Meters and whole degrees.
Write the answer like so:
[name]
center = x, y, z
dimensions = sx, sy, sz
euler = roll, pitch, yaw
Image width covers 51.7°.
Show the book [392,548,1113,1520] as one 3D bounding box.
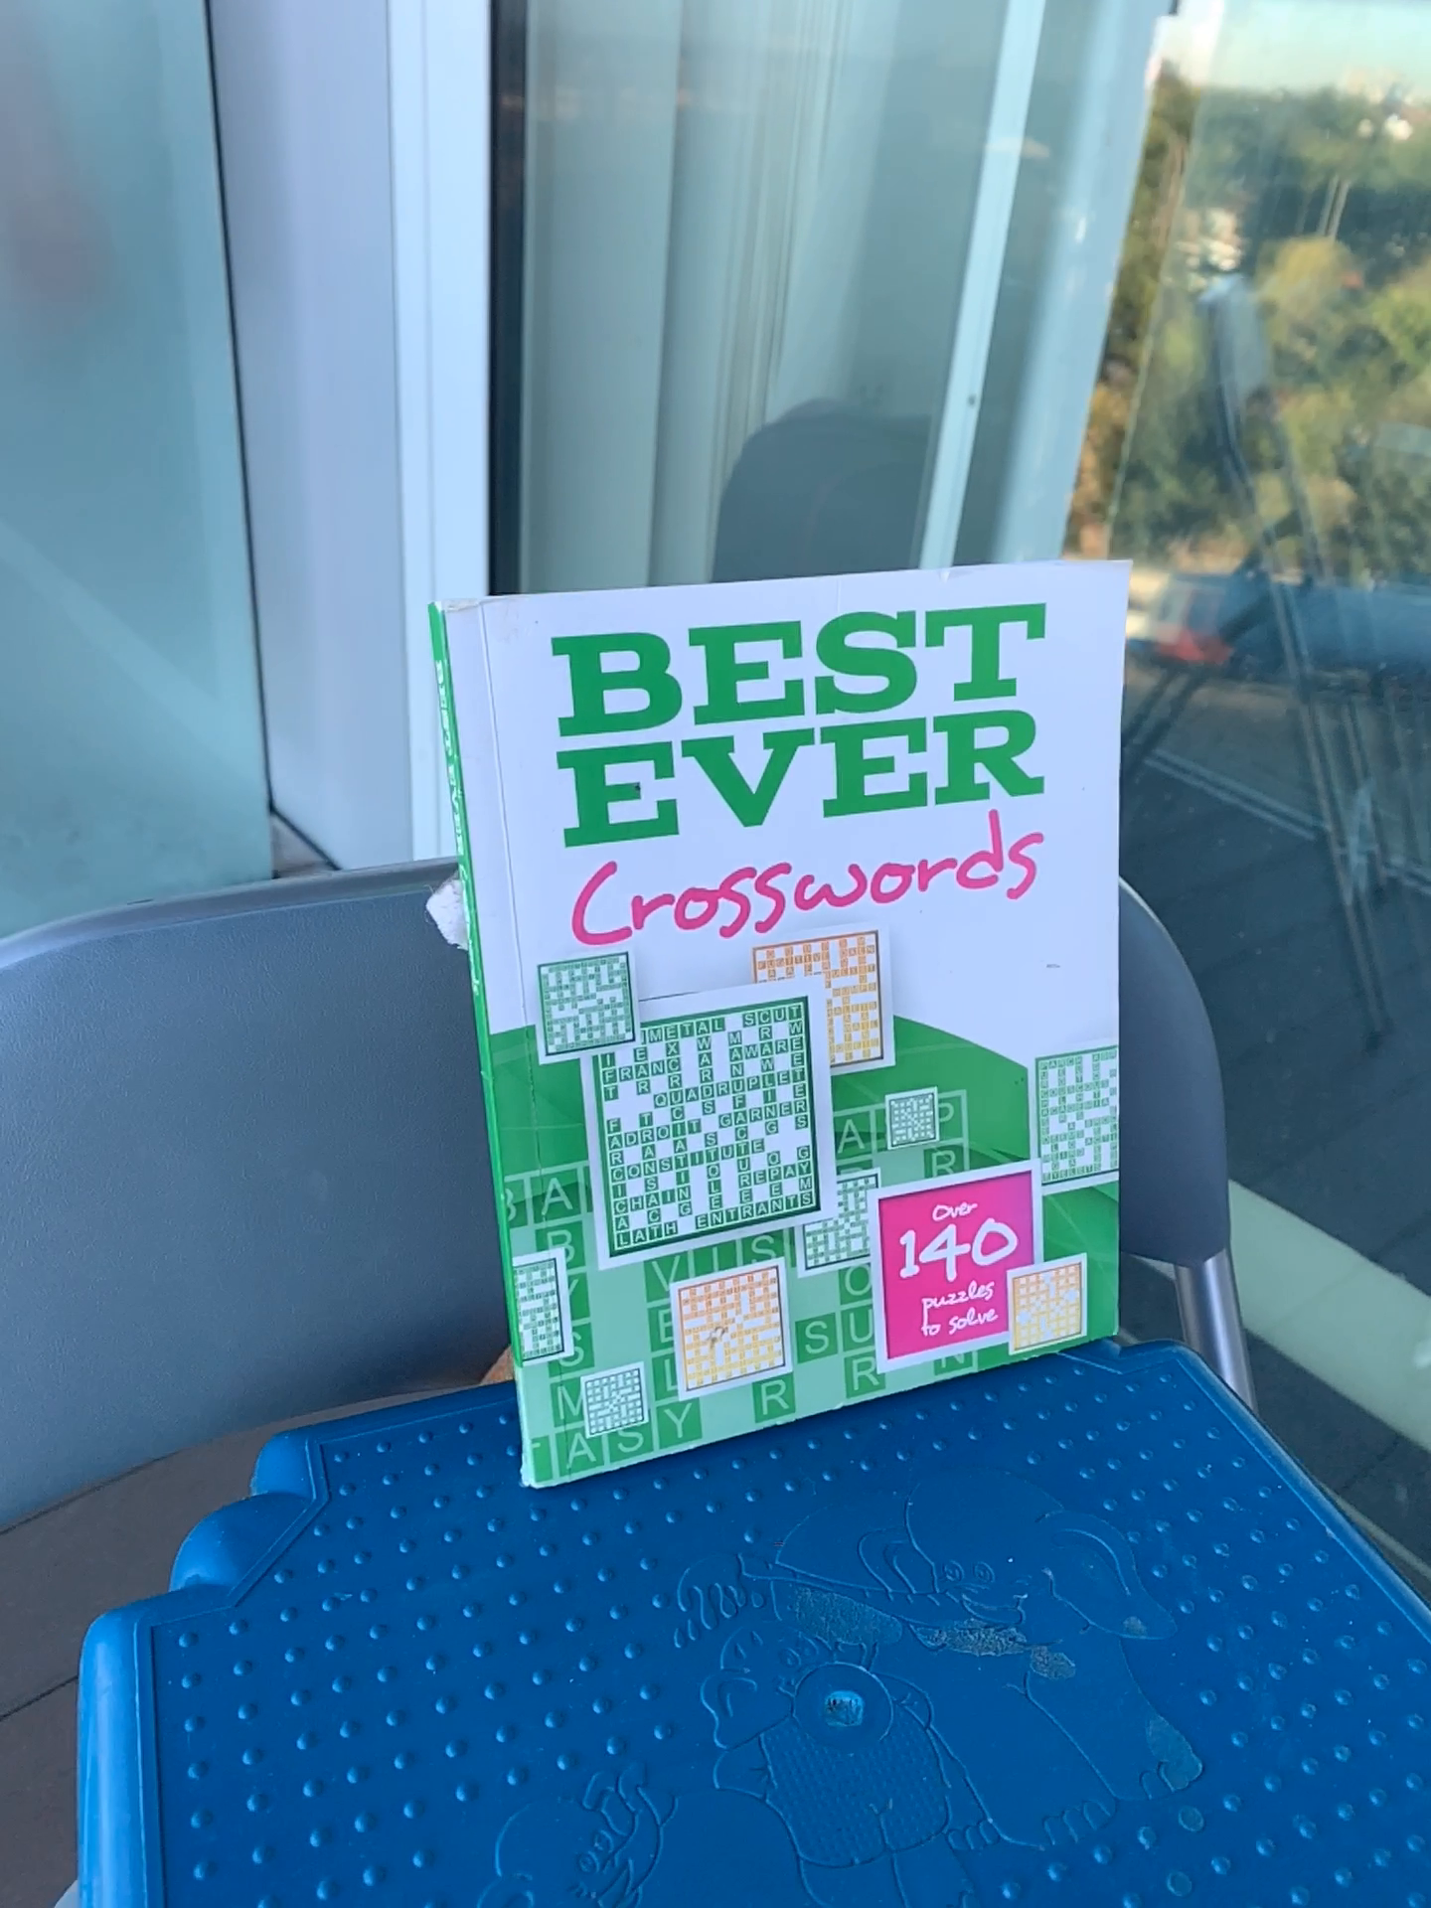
[book]
center = 0.017, 0.012, 0.340
dimensions = 0.157, 0.196, 0.030
euler = -8, 12, -22
